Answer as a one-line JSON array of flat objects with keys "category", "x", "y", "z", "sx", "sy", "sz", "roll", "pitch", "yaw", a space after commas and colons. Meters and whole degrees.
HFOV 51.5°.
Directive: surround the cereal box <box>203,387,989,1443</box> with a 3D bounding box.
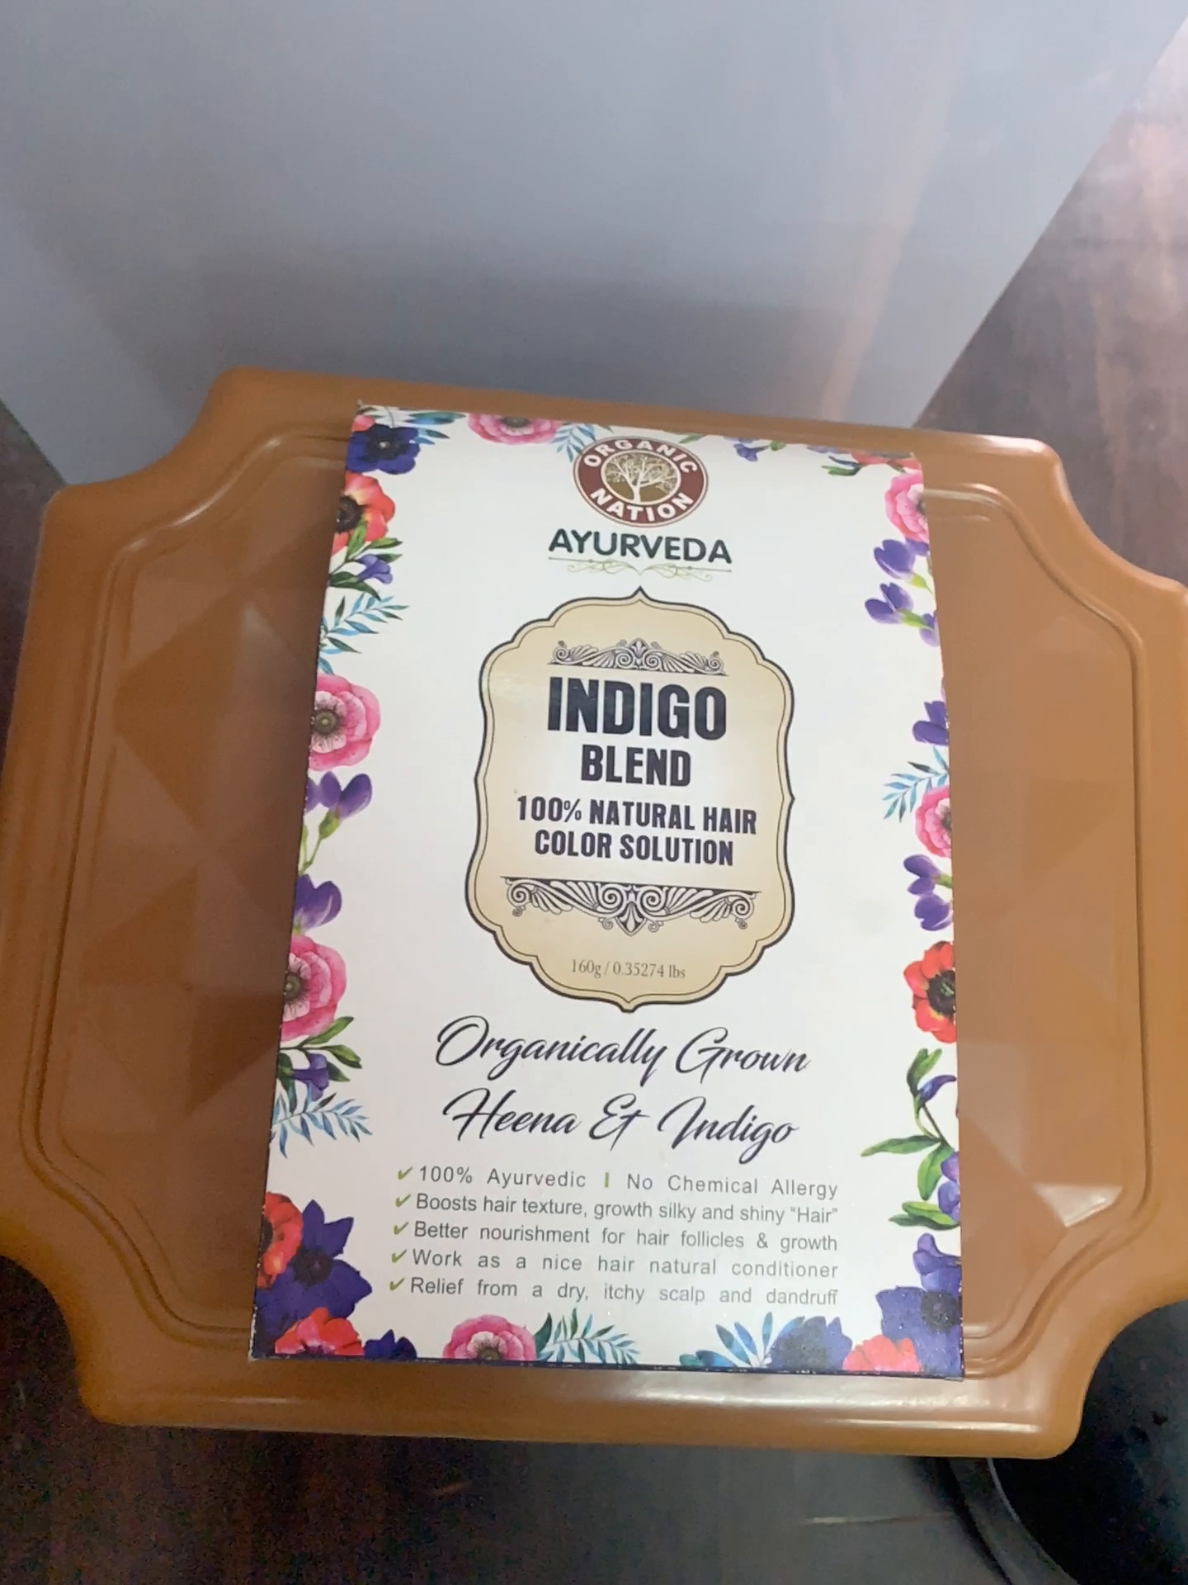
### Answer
[{"category": "cereal box", "x": 0.004, "y": 0.024, "z": 0.275, "sx": 0.140, "sy": 0.070, "sz": 0.200, "roll": 3, "pitch": 77, "yaw": -3}]
